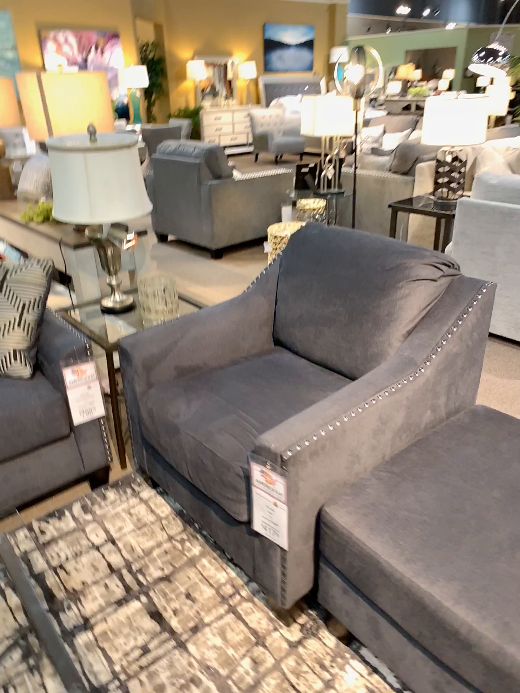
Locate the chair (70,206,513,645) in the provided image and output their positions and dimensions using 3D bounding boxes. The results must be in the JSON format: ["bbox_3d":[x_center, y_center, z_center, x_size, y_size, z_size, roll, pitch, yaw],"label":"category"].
[{"bbox_3d":[0.087,0.094,1.776,0.958,0.840,0.923,-22,33,-35],"label":"chair"}]
